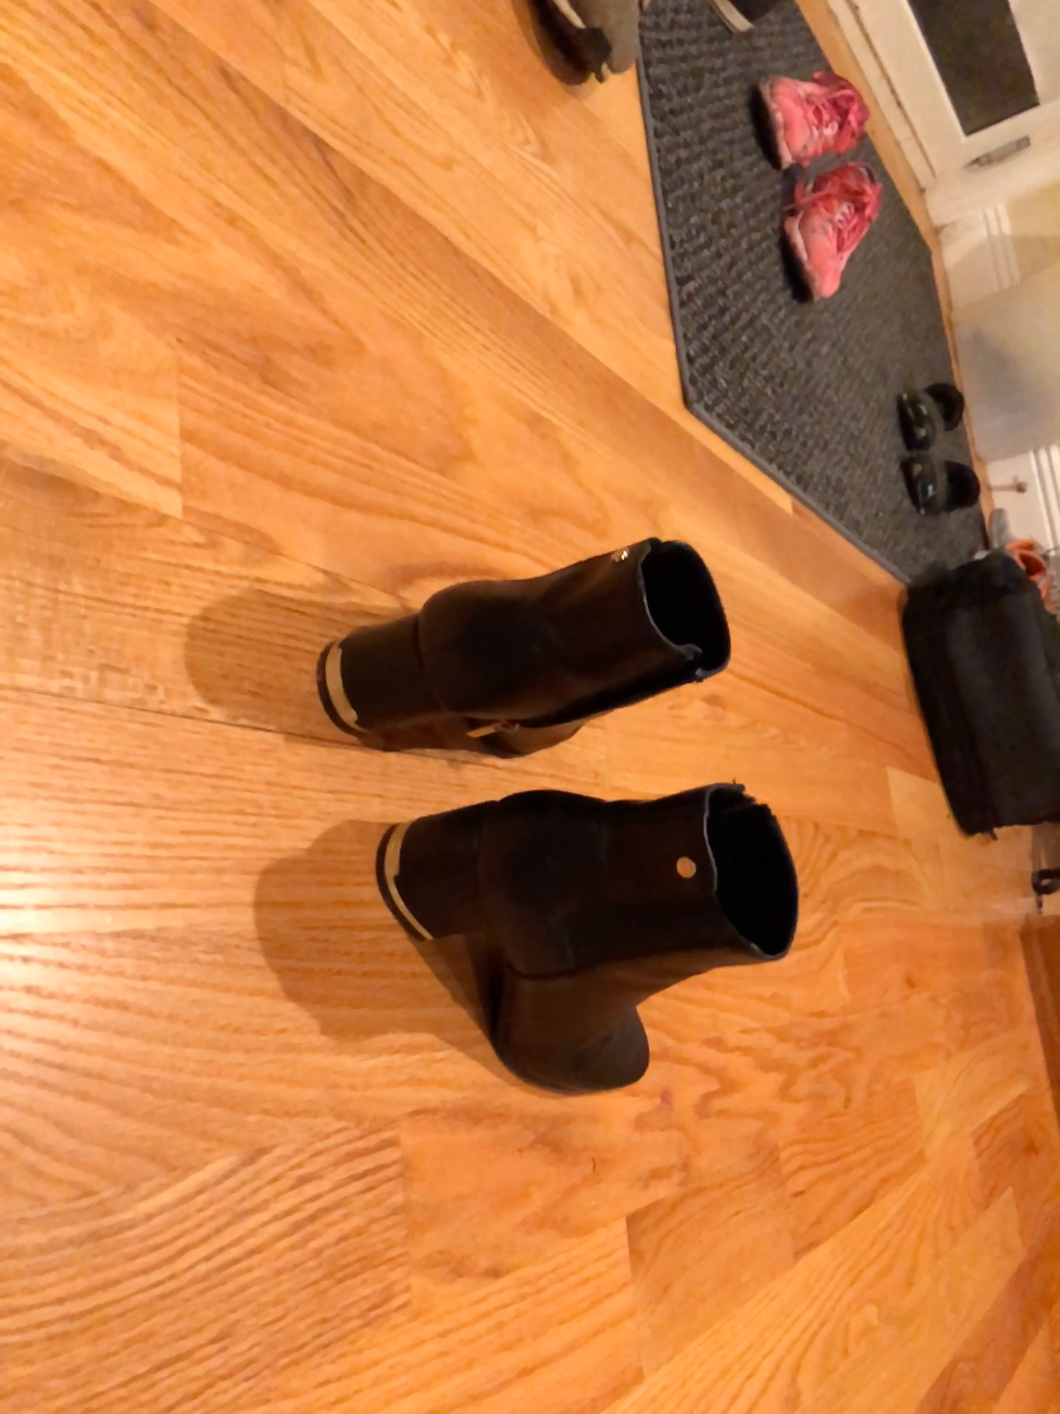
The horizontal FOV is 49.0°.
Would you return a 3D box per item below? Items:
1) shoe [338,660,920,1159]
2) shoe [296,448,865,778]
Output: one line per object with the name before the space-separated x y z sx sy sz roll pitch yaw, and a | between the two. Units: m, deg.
shoe | 0.060 0.113 0.556 0.236 0.175 0.095 54 37 -32
shoe | 0.037 -0.029 0.578 0.237 0.175 0.095 4 75 -58
